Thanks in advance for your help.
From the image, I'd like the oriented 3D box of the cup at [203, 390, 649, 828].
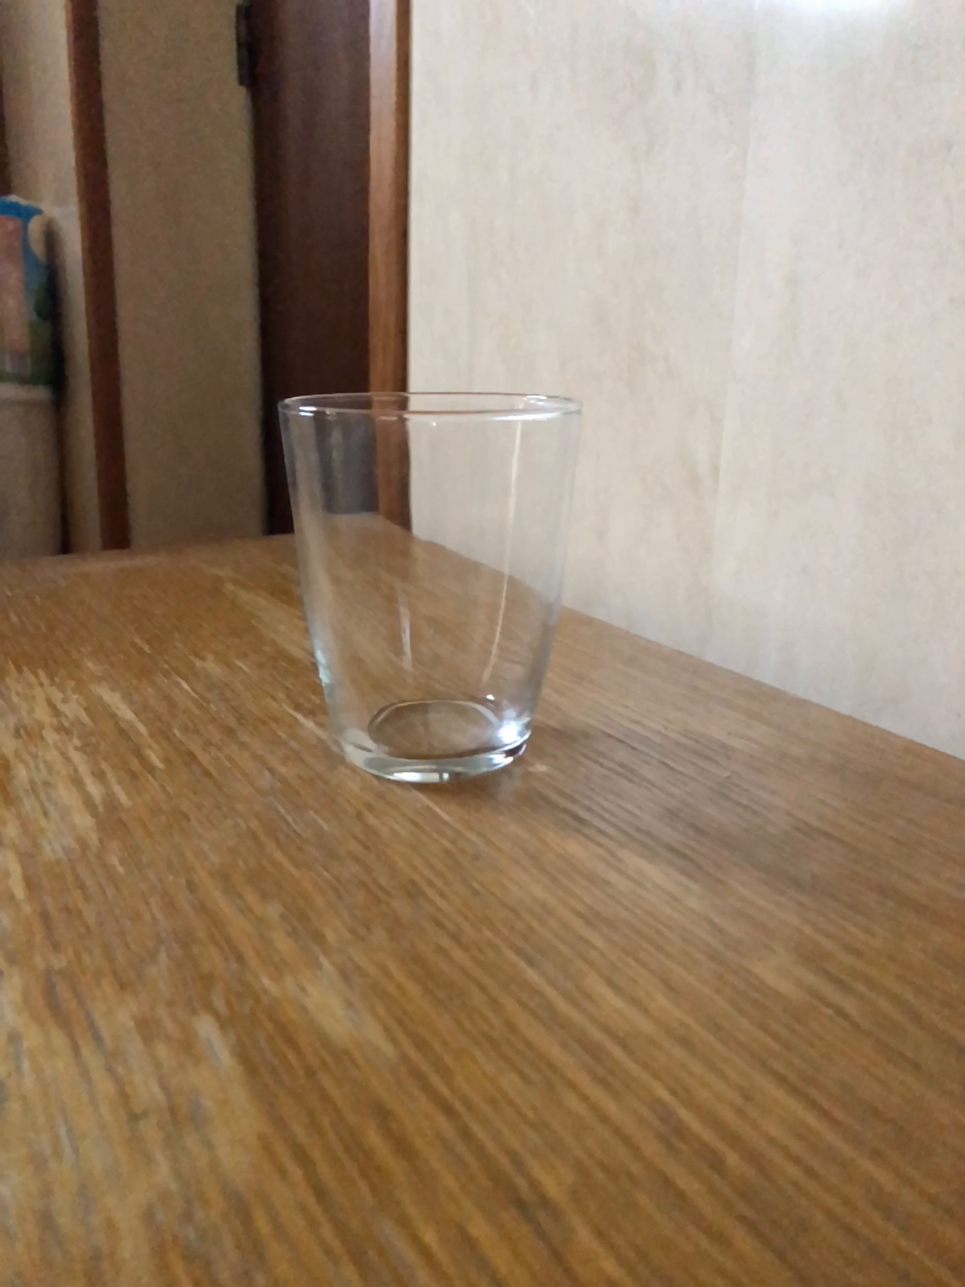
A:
[{"bbox_3d":[-0.012,-0.016,0.248,0.070,0.080,0.070,1,15,0],"label":"cup"}]
